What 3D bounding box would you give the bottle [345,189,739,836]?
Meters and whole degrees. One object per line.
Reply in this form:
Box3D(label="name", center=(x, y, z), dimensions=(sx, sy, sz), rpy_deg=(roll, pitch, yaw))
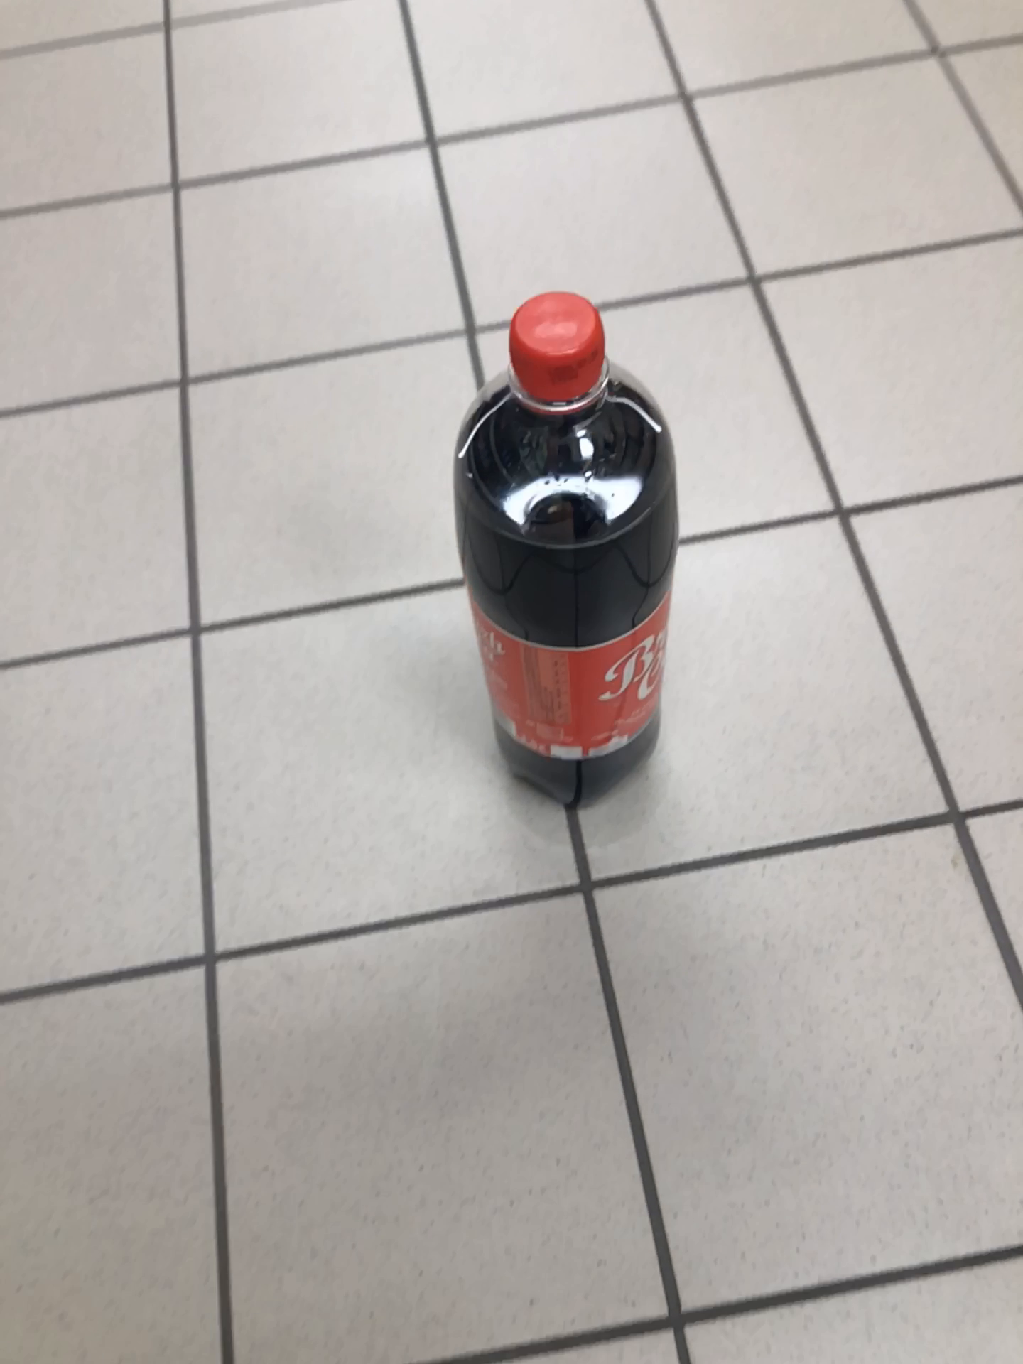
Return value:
Box3D(label="bottle", center=(0.022, -0.045, 0.500), dimensions=(0.100, 0.309, 0.100), rpy_deg=(-2, 62, 4))
